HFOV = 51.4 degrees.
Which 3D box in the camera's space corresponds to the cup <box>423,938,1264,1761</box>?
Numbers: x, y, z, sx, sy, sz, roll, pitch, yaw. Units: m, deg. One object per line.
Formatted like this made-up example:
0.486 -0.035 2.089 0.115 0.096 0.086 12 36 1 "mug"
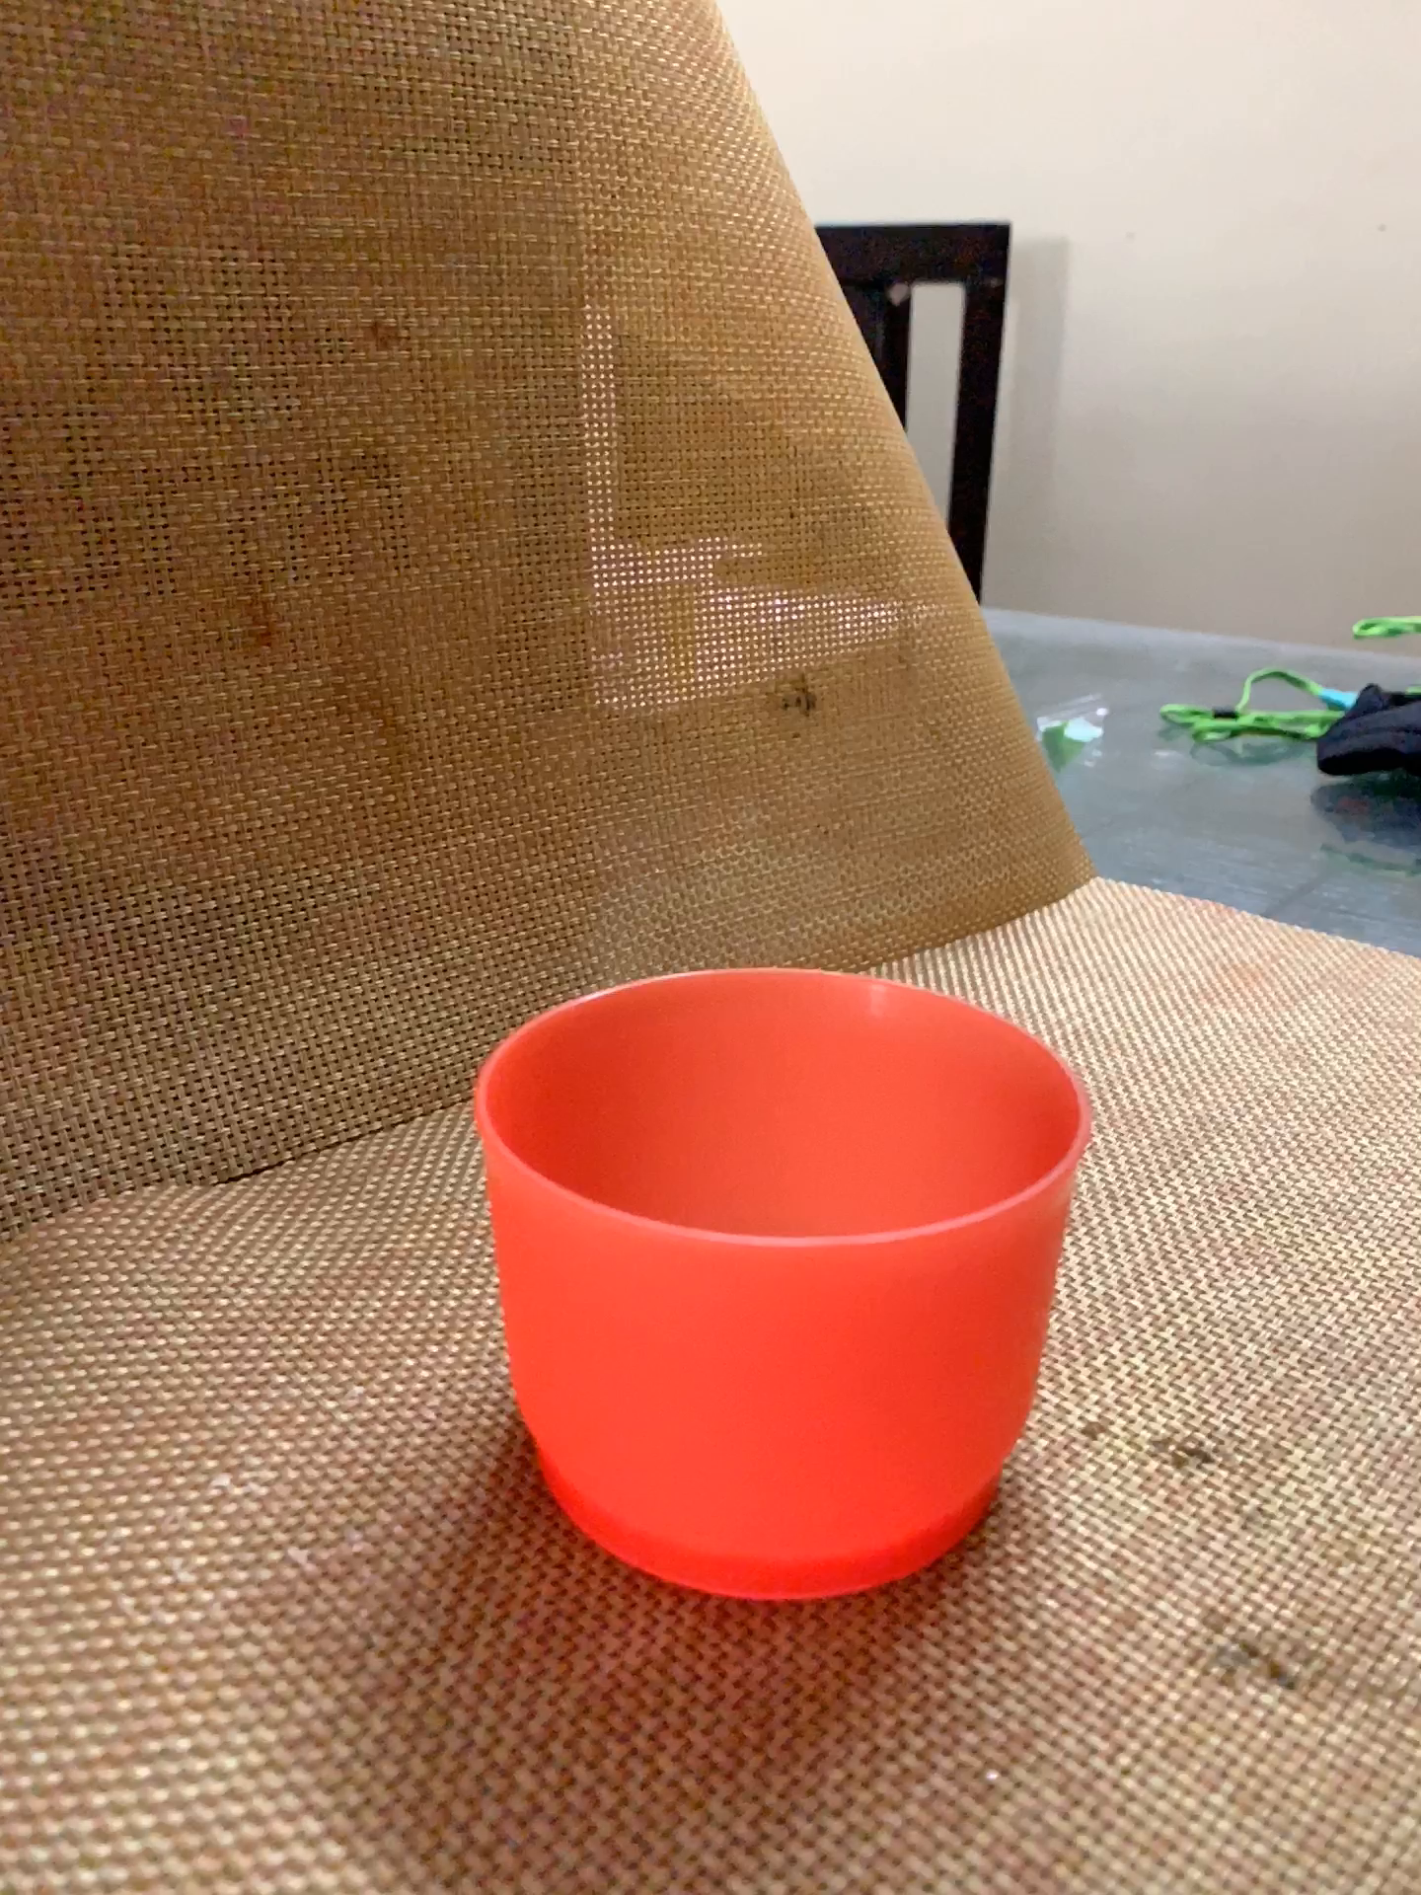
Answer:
0.013 0.039 0.182 0.070 0.050 0.070 1 20 0 "cup"
